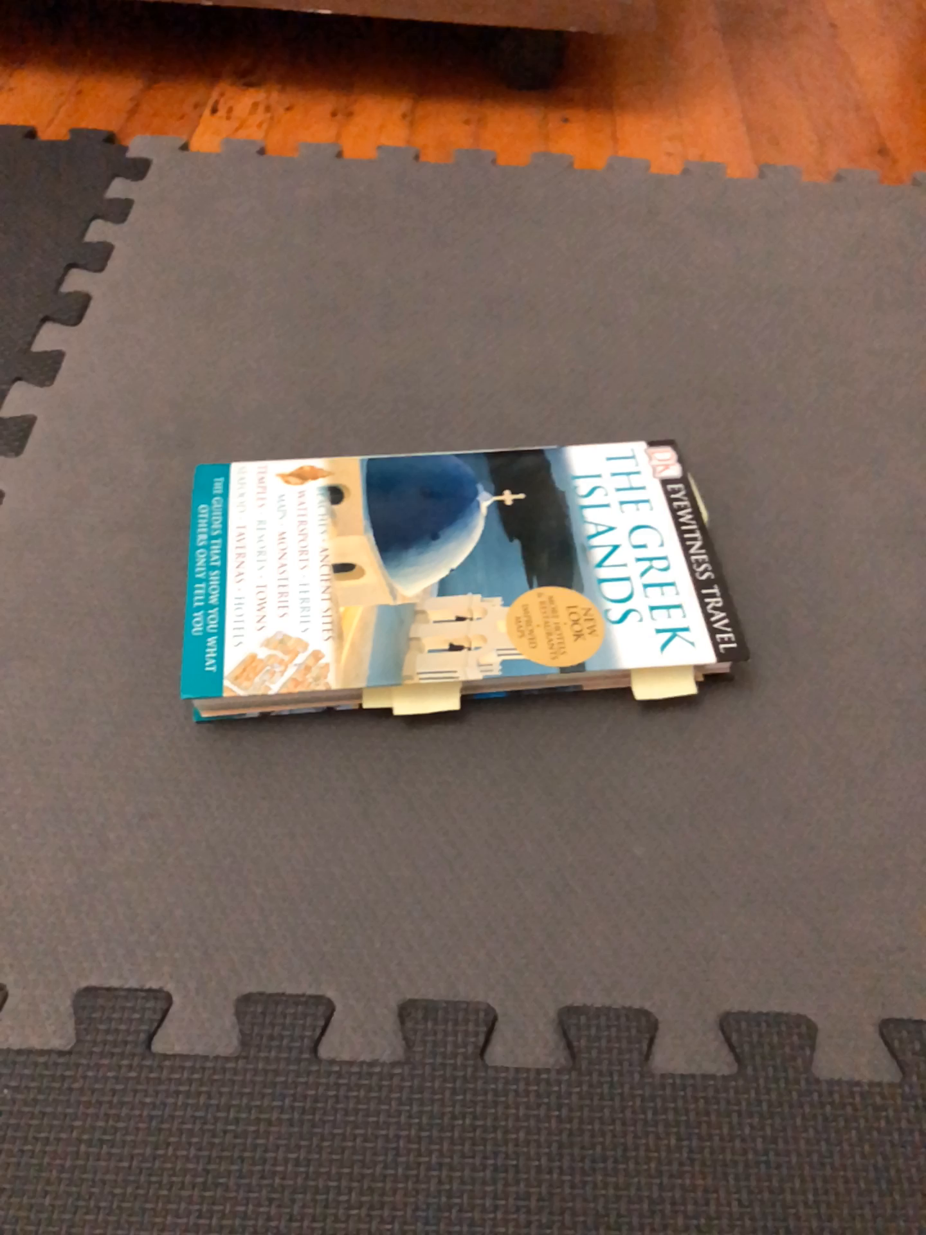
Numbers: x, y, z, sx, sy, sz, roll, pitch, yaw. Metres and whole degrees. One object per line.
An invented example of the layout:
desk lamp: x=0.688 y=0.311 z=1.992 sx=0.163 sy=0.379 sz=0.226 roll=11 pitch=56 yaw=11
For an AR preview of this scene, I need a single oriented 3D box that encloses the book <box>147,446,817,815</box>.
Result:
book: x=0.003 y=-0.004 z=0.428 sx=0.240 sy=0.030 sz=0.161 roll=-2 pitch=50 yaw=-5
